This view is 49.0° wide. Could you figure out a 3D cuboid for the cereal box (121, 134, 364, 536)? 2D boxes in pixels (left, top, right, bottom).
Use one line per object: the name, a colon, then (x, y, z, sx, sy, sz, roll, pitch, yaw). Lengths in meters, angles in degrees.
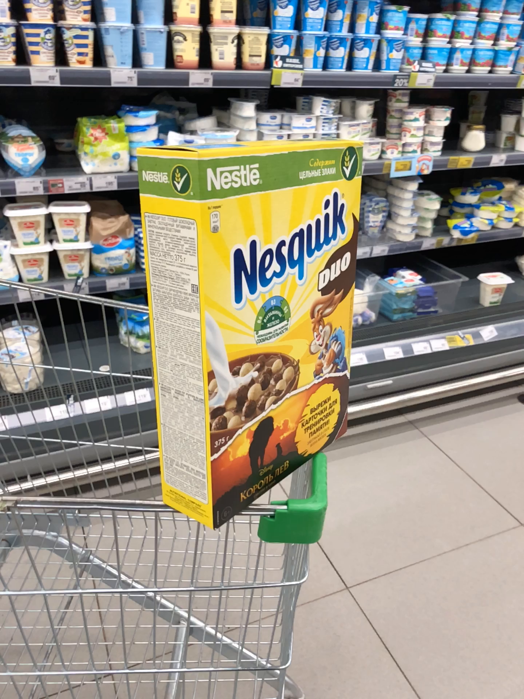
cereal box: (-0.003, -0.025, 0.471, 0.060, 0.279, 0.201, 17, 27, 36)
